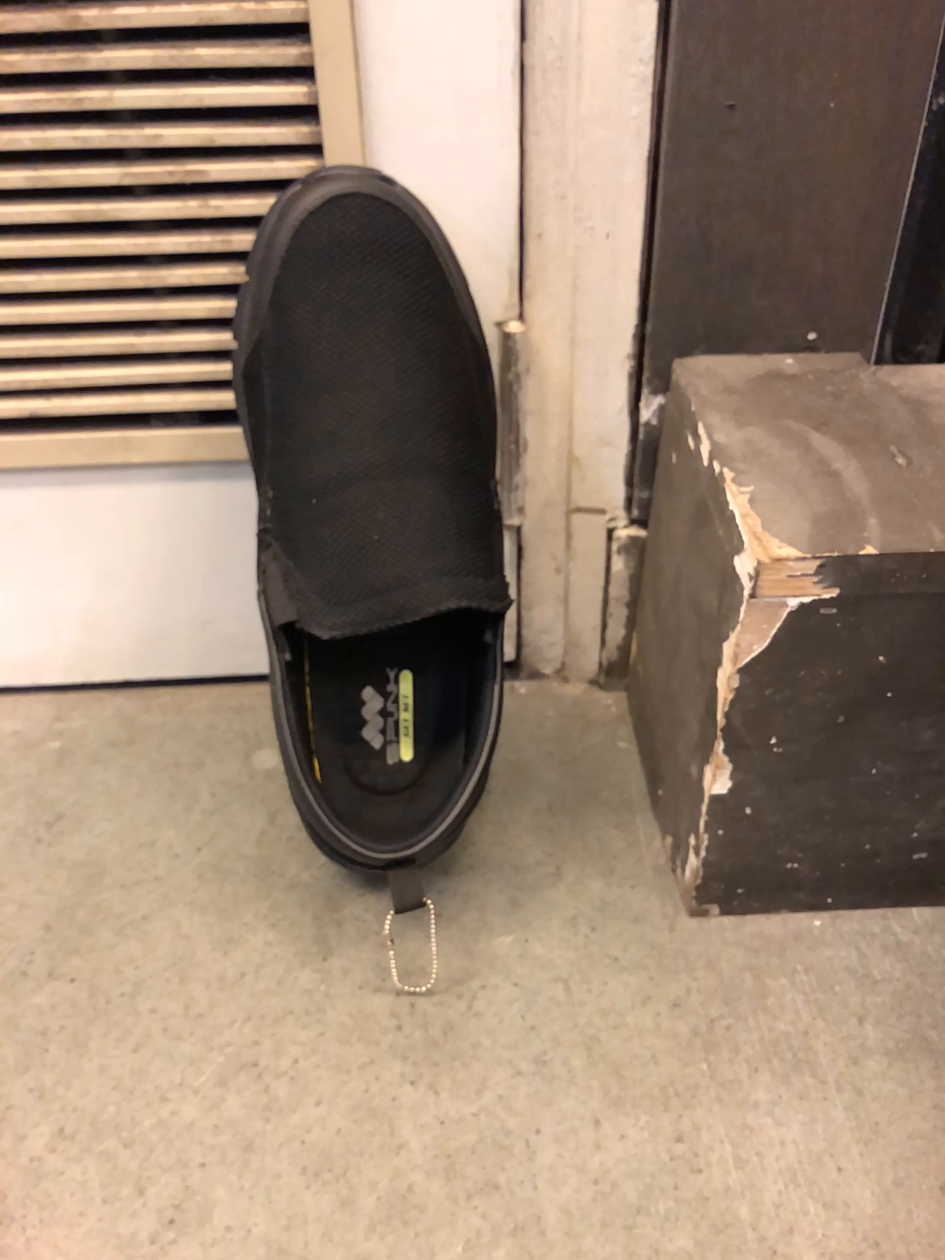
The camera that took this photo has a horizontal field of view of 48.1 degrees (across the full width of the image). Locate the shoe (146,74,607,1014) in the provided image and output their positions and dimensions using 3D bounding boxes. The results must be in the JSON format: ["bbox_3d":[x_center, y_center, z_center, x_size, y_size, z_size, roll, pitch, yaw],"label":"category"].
[{"bbox_3d":[-0.034,-0.030,0.405,0.111,0.292,0.127,-7,3,-4],"label":"shoe"}]
